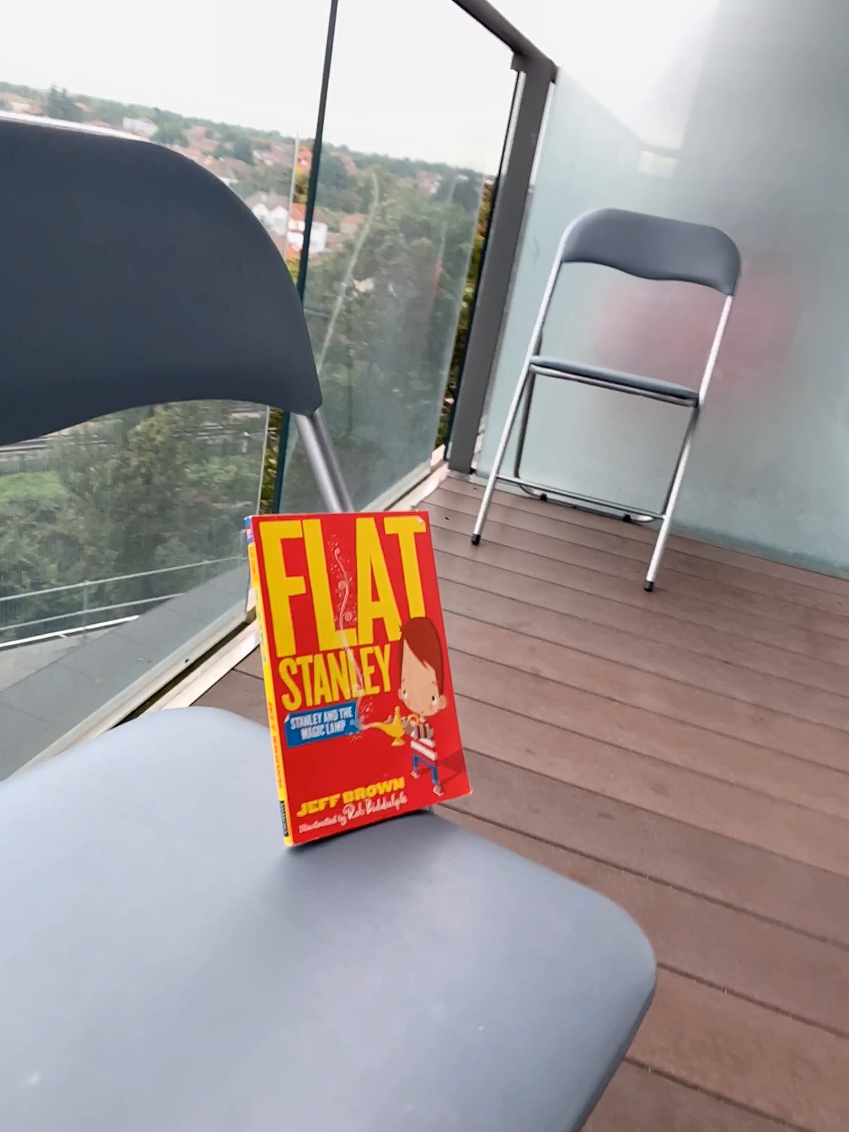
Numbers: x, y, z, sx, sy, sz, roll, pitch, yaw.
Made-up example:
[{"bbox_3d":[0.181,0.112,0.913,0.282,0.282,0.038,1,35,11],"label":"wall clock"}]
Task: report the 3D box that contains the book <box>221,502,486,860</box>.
[{"bbox_3d":[-0.039,0.060,0.523,0.140,0.190,0.020,-5,-6,-33],"label":"book"}]
